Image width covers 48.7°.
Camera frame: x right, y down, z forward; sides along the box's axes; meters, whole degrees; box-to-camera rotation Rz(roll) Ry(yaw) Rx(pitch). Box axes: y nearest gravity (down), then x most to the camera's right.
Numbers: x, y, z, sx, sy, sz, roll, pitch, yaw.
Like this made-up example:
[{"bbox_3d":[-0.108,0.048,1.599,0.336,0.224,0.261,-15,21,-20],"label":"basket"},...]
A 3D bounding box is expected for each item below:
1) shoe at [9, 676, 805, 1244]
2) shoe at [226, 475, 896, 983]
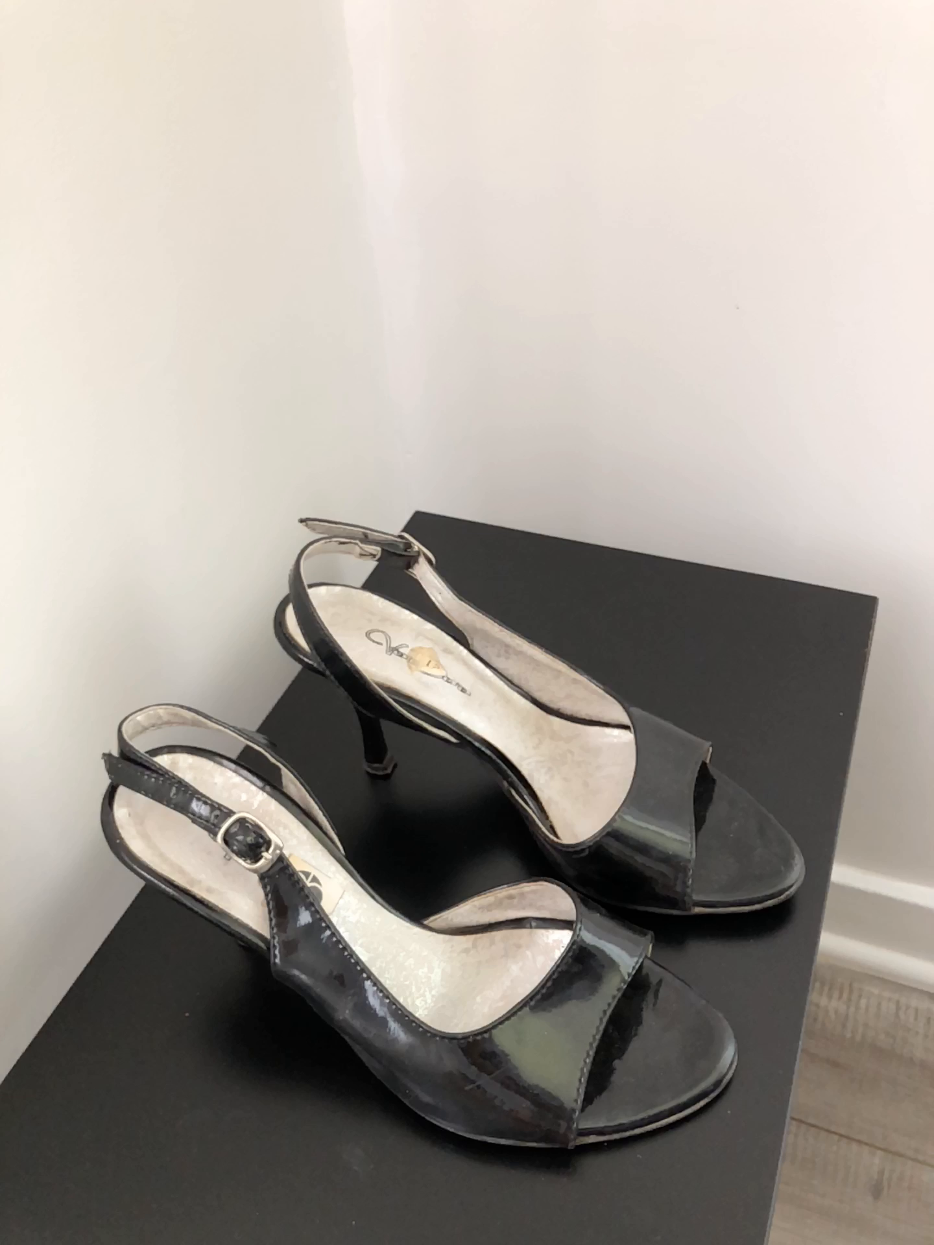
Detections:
[{"bbox_3d":[-0.014,0.104,0.328,0.210,0.110,0.084,10,43,16],"label":"shoe"},{"bbox_3d":[0.032,0.033,0.386,0.210,0.110,0.083,15,45,21],"label":"shoe"}]
